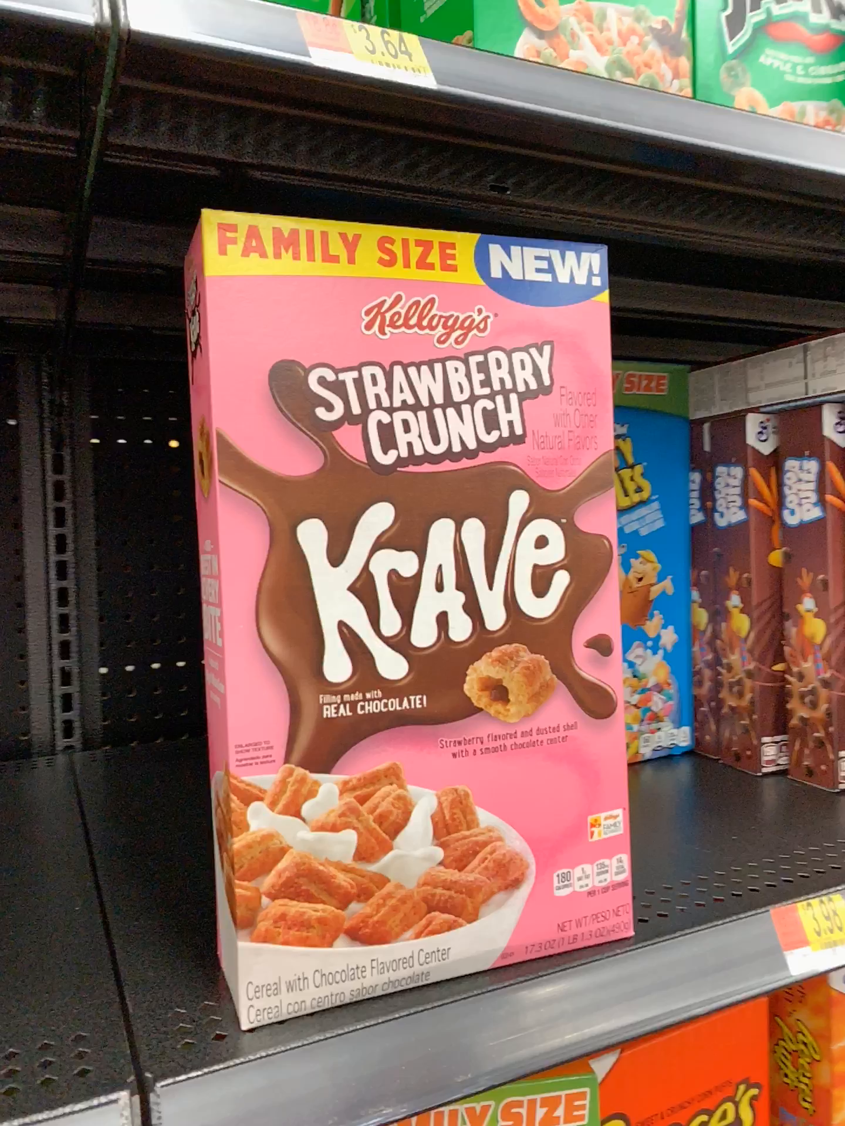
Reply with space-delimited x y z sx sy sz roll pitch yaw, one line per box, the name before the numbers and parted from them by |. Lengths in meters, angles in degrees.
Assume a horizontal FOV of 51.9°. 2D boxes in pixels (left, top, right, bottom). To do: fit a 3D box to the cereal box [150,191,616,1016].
cereal box | -0.016 0.012 0.411 0.200 0.330 0.060 -2 0 -21
